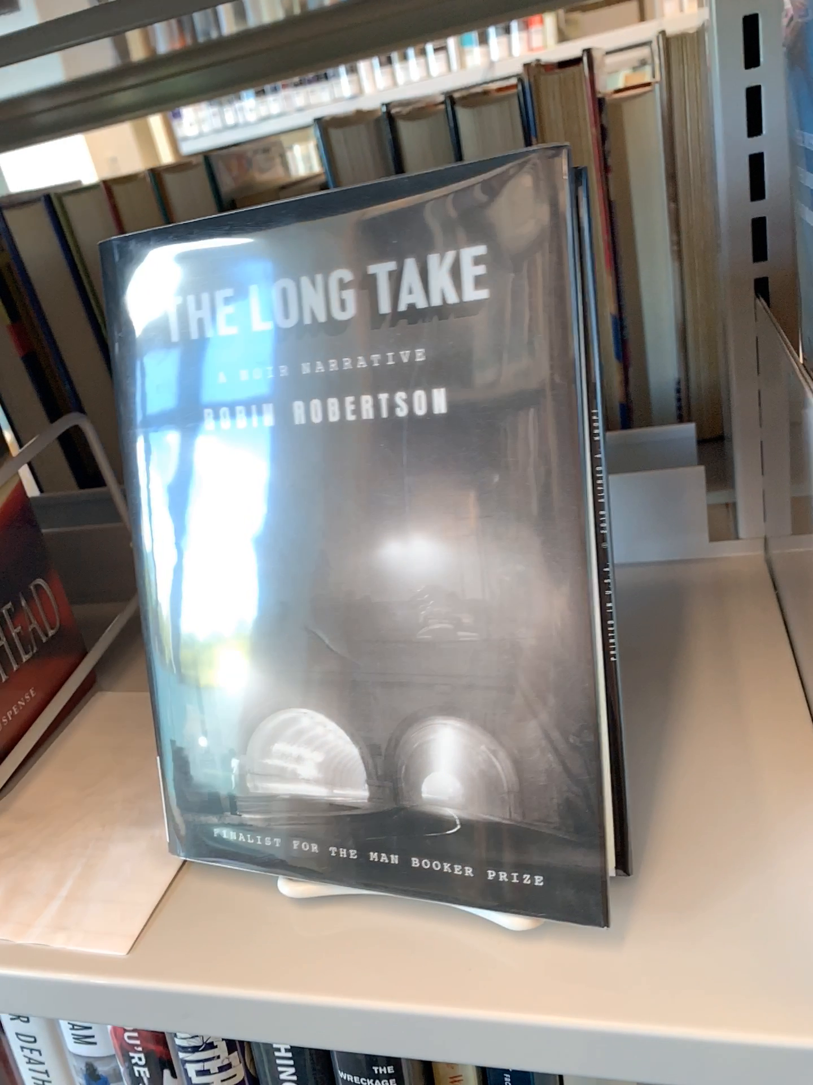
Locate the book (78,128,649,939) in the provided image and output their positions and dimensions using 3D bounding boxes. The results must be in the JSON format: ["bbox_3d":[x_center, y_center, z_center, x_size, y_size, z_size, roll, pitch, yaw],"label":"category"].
[{"bbox_3d":[-0.015,0.002,0.264,0.160,0.206,0.040,-1,7,24],"label":"book"}]
